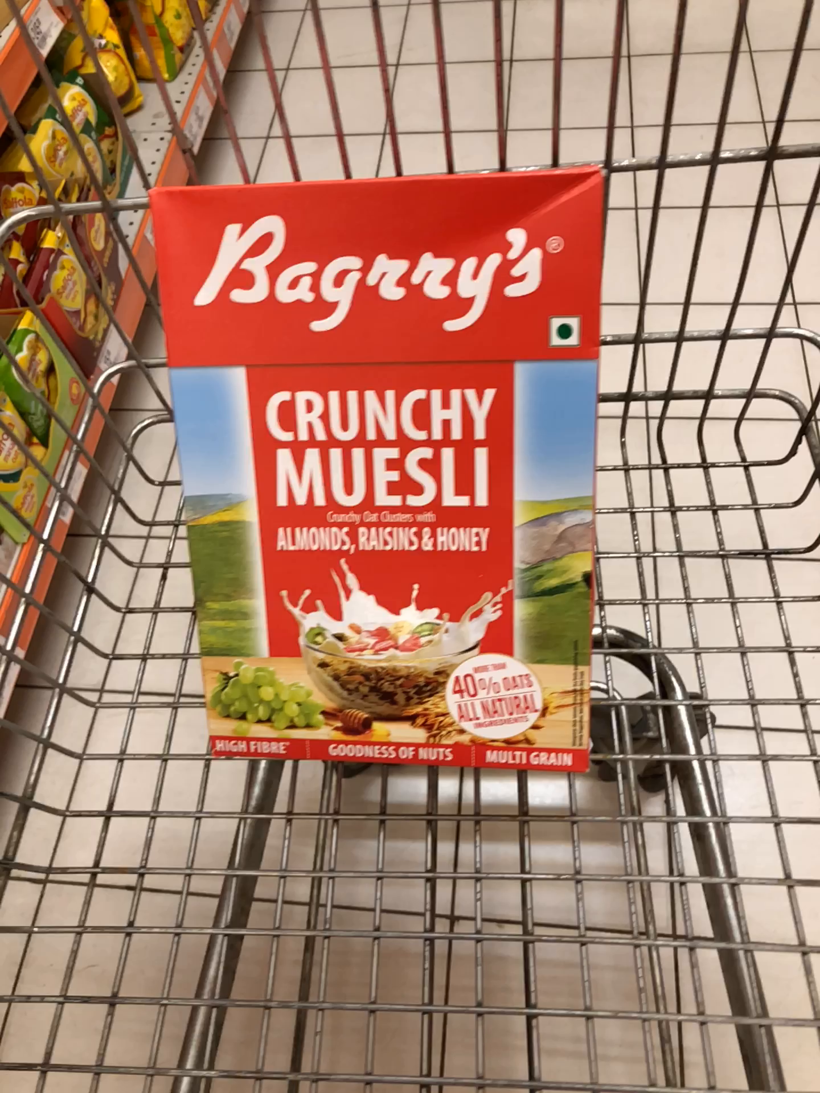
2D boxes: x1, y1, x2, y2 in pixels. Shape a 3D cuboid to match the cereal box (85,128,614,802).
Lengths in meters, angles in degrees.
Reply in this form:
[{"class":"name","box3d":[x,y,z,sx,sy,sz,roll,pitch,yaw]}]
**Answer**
[{"class":"cereal box","box3d":[-0.016,-0.025,0.401,0.190,0.279,0.060,0,22,7]}]
